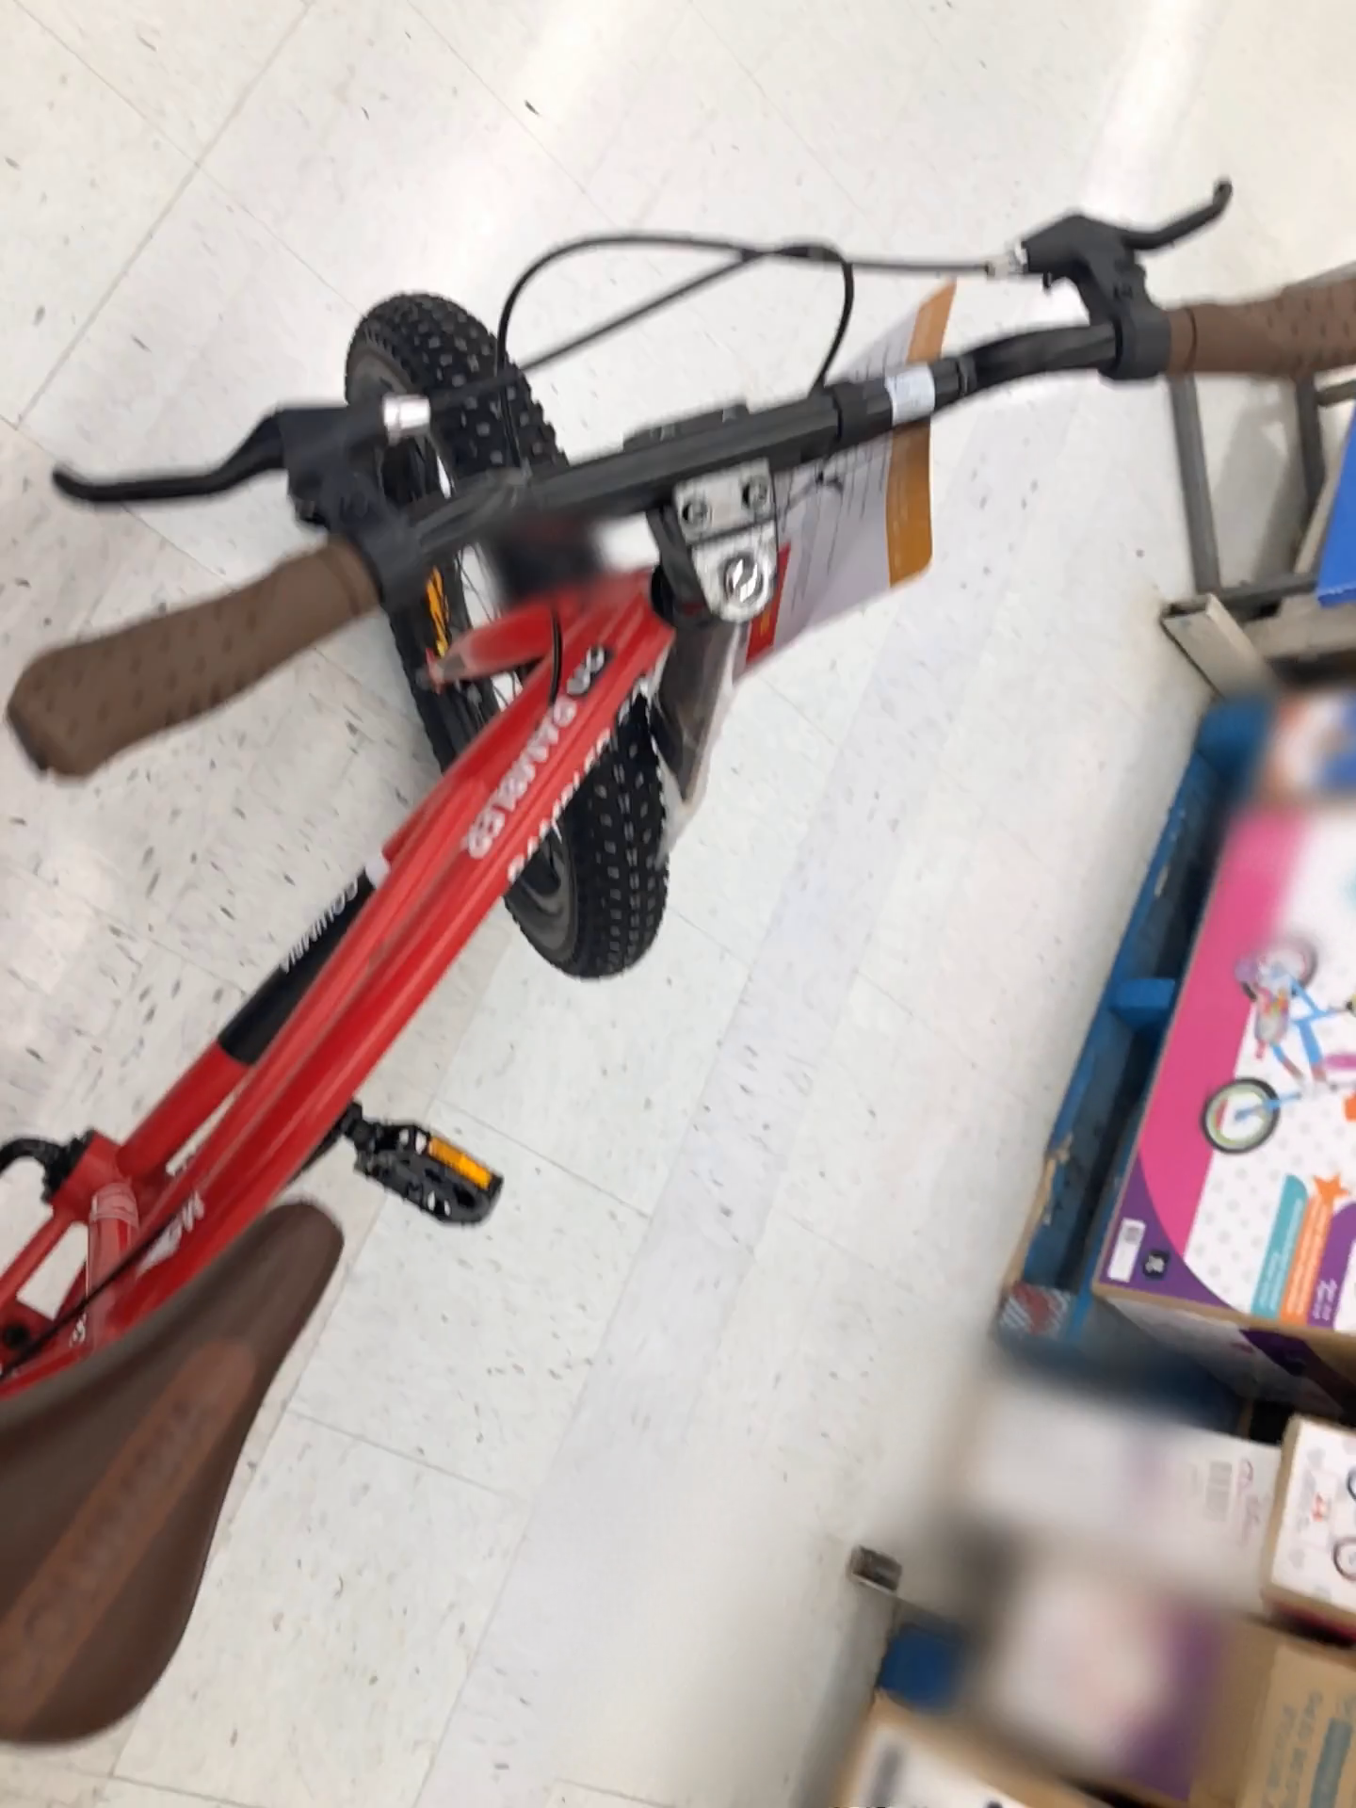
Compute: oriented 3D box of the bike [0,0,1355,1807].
[{"bbox_3d":[-0.307,0.147,0.836,0.609,0.968,1.359,36,63,-33],"label":"bike"}]
